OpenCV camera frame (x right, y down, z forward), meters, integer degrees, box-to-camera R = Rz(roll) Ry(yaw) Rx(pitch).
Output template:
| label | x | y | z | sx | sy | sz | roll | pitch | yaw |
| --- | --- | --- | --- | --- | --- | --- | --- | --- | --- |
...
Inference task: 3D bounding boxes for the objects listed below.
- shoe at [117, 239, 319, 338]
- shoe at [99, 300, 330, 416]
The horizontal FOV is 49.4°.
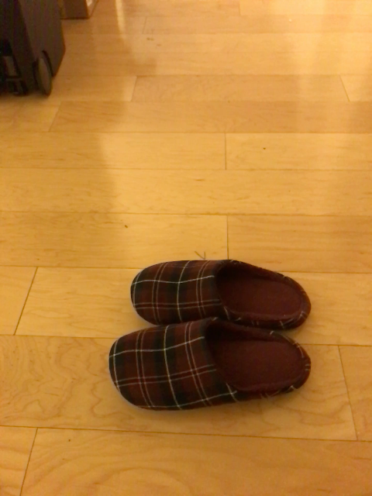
| label | x | y | z | sx | sy | sz | roll | pitch | yaw |
| --- | --- | --- | --- | --- | --- | --- | --- | --- | --- |
| shoe | 0.045 | 0.055 | 0.579 | 0.260 | 0.050 | 0.121 | 3 | 50 | 4 |
| shoe | 0.031 | 0.140 | 0.528 | 0.270 | 0.050 | 0.121 | -3 | 50 | -1 |
